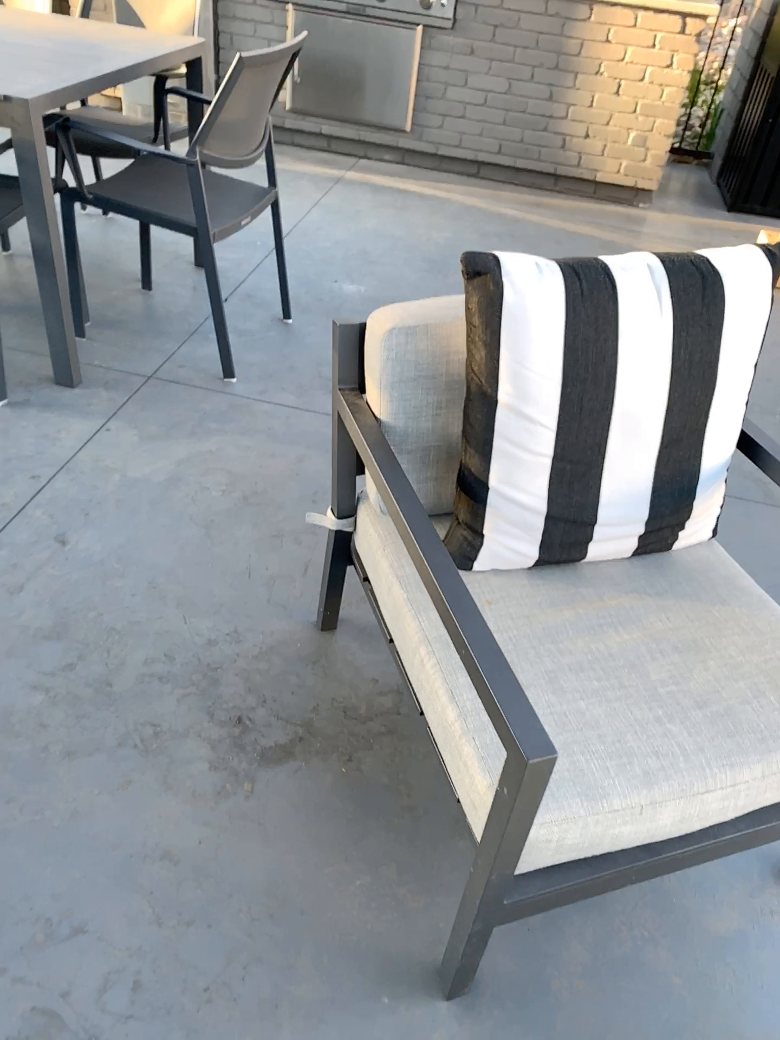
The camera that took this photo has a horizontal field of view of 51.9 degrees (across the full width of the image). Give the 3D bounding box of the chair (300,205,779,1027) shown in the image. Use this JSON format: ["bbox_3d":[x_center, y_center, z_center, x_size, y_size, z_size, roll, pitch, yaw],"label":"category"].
[{"bbox_3d":[0.328,0.070,1.183,0.730,0.796,0.753,-8,41,-18],"label":"chair"}]
